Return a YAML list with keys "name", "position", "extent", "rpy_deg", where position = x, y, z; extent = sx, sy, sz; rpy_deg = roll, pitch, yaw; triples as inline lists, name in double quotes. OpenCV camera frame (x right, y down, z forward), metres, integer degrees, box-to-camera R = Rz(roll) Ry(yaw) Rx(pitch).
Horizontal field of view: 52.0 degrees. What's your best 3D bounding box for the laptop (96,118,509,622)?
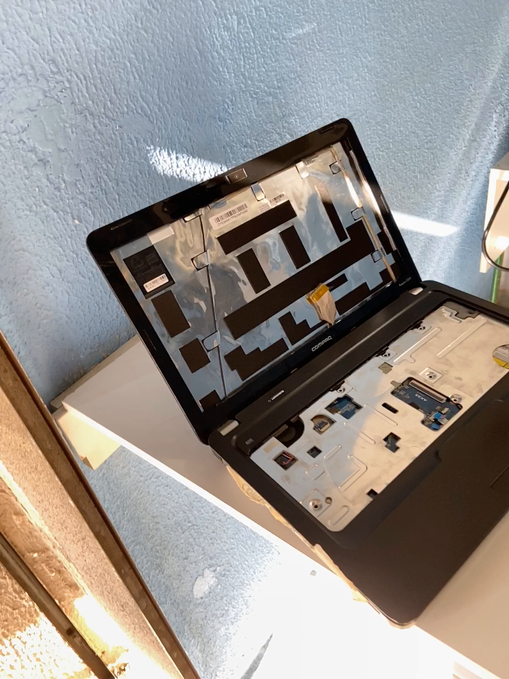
- name: "laptop"
  position: [0.103, -0.035, 0.477]
  extent: [0.332, 0.182, 0.336]
  rpy_deg: [-33, 42, -25]
